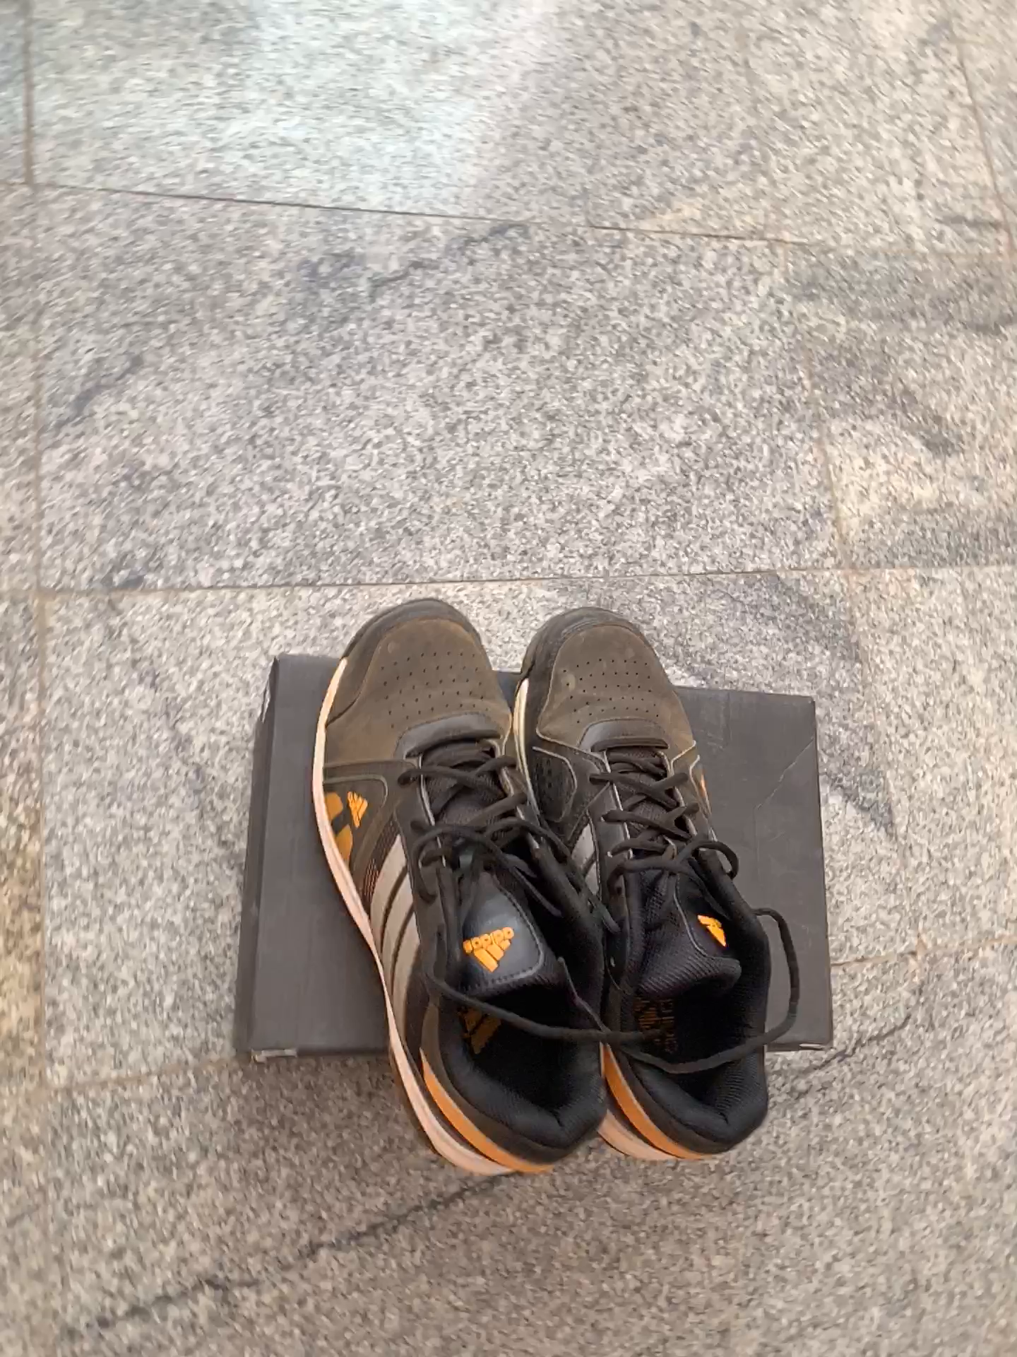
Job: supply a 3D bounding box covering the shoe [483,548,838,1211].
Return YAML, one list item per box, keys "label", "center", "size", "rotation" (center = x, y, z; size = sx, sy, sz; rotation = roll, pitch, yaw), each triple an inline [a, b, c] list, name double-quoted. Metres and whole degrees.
- label: "shoe"
  center: [0.066, 0.088, 0.523]
  size: [0.110, 0.090, 0.290]
  rotation: [-3, 77, -16]

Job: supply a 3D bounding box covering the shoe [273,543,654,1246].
- label: "shoe"
  center: [-0.031, 0.093, 0.517]
  size: [0.110, 0.090, 0.300]
  rotation: [-6, 78, -25]
